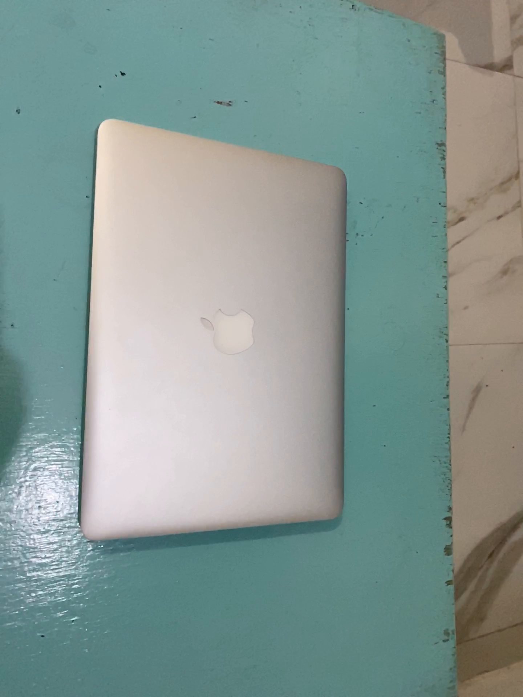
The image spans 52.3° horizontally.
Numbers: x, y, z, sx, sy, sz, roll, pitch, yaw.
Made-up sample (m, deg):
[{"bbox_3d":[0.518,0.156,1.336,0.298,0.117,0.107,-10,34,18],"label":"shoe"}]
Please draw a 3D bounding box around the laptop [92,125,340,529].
[{"bbox_3d":[-0.027,-0.013,0.433,0.209,0.007,0.291,2,87,-26],"label":"laptop"}]
